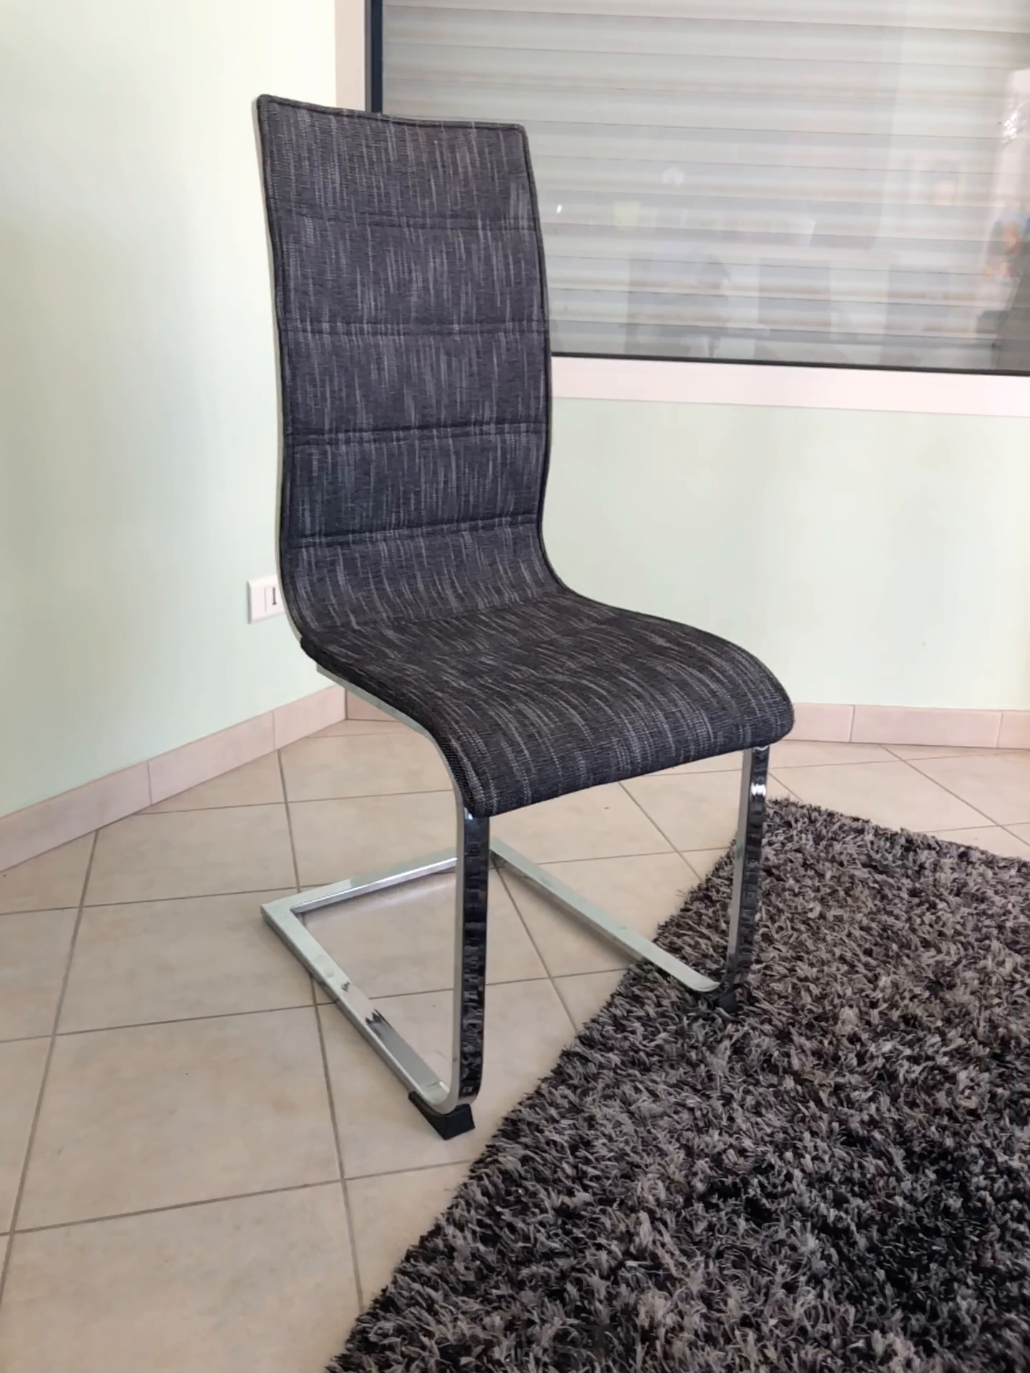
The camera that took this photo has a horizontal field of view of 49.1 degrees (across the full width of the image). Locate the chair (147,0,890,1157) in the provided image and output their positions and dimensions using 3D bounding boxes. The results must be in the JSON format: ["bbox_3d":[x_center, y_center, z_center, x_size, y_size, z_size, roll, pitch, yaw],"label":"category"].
[{"bbox_3d":[-0.042,-0.138,1.275,0.502,0.966,0.581,-10,22,-34],"label":"chair"}]
